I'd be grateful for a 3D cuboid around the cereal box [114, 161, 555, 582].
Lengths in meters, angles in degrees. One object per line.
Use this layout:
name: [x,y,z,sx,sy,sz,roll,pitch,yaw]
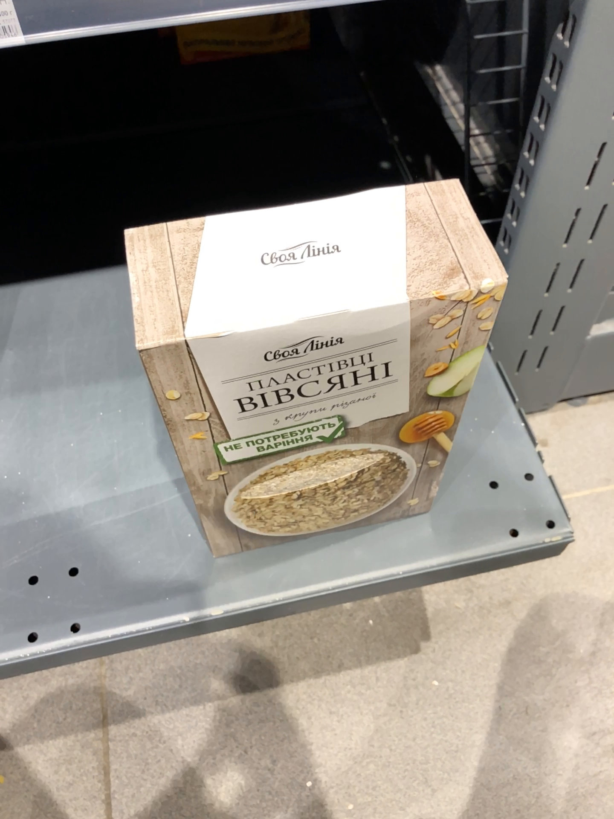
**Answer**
cereal box: [0.007,0.002,0.348,0.150,0.229,0.070,-11,59,-6]
